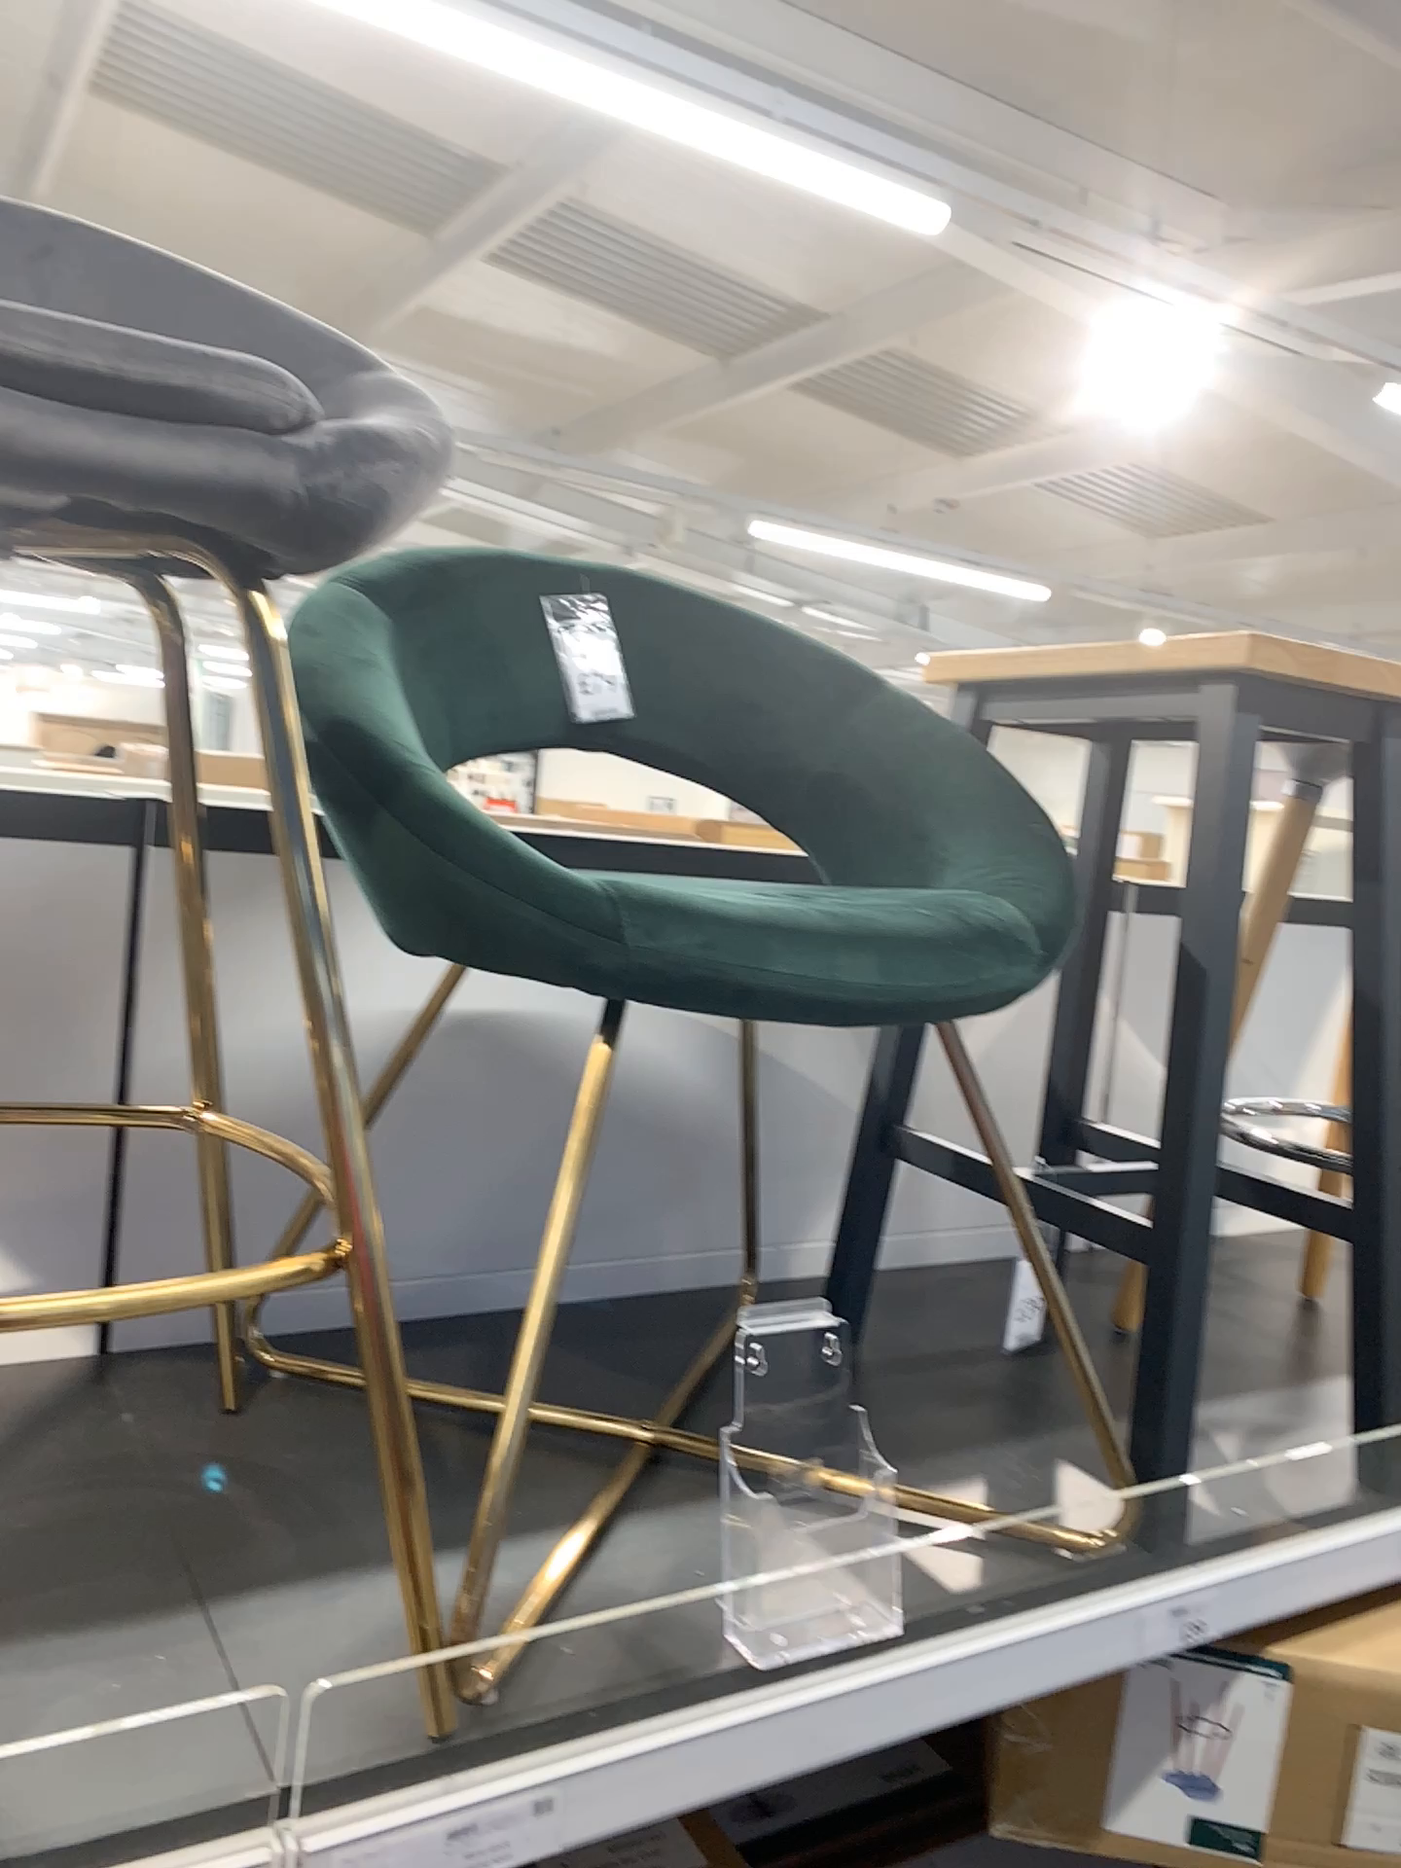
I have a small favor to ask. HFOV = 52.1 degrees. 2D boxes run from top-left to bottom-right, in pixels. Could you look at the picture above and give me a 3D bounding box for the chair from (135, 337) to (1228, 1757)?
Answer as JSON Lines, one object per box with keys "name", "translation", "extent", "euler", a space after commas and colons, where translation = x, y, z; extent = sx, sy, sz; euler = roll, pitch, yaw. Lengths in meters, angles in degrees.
{"name": "chair", "translation": [-0.048, 0.051, 1.176], "extent": [0.629, 0.776, 0.555], "euler": [3, 4, -33]}
